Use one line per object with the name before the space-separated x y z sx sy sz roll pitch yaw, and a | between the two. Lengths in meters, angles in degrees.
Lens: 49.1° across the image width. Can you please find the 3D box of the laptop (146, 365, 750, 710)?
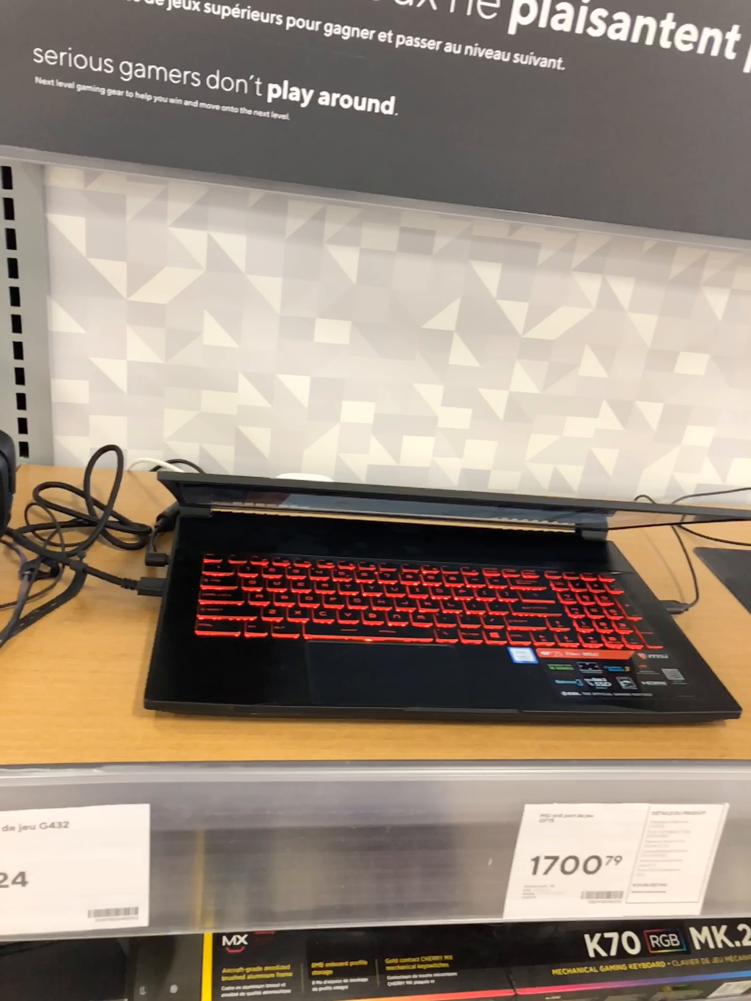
laptop | 0.047 0.018 0.612 0.393 0.133 0.249 3 26 -10
